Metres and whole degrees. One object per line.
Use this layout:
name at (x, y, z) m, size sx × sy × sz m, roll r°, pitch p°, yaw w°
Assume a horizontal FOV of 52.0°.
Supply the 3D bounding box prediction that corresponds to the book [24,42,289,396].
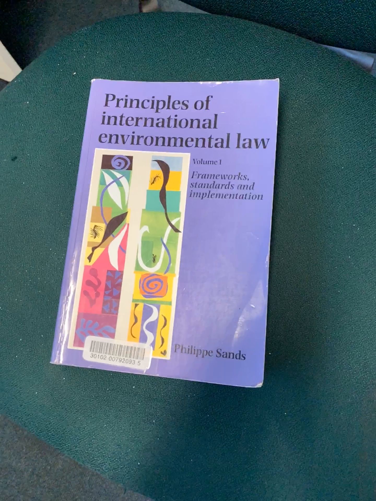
book at (-0.016, -0.035, 0.318) m, size 0.180 × 0.050 × 0.271 m, roll 3°, pitch 78°, yaw 8°
